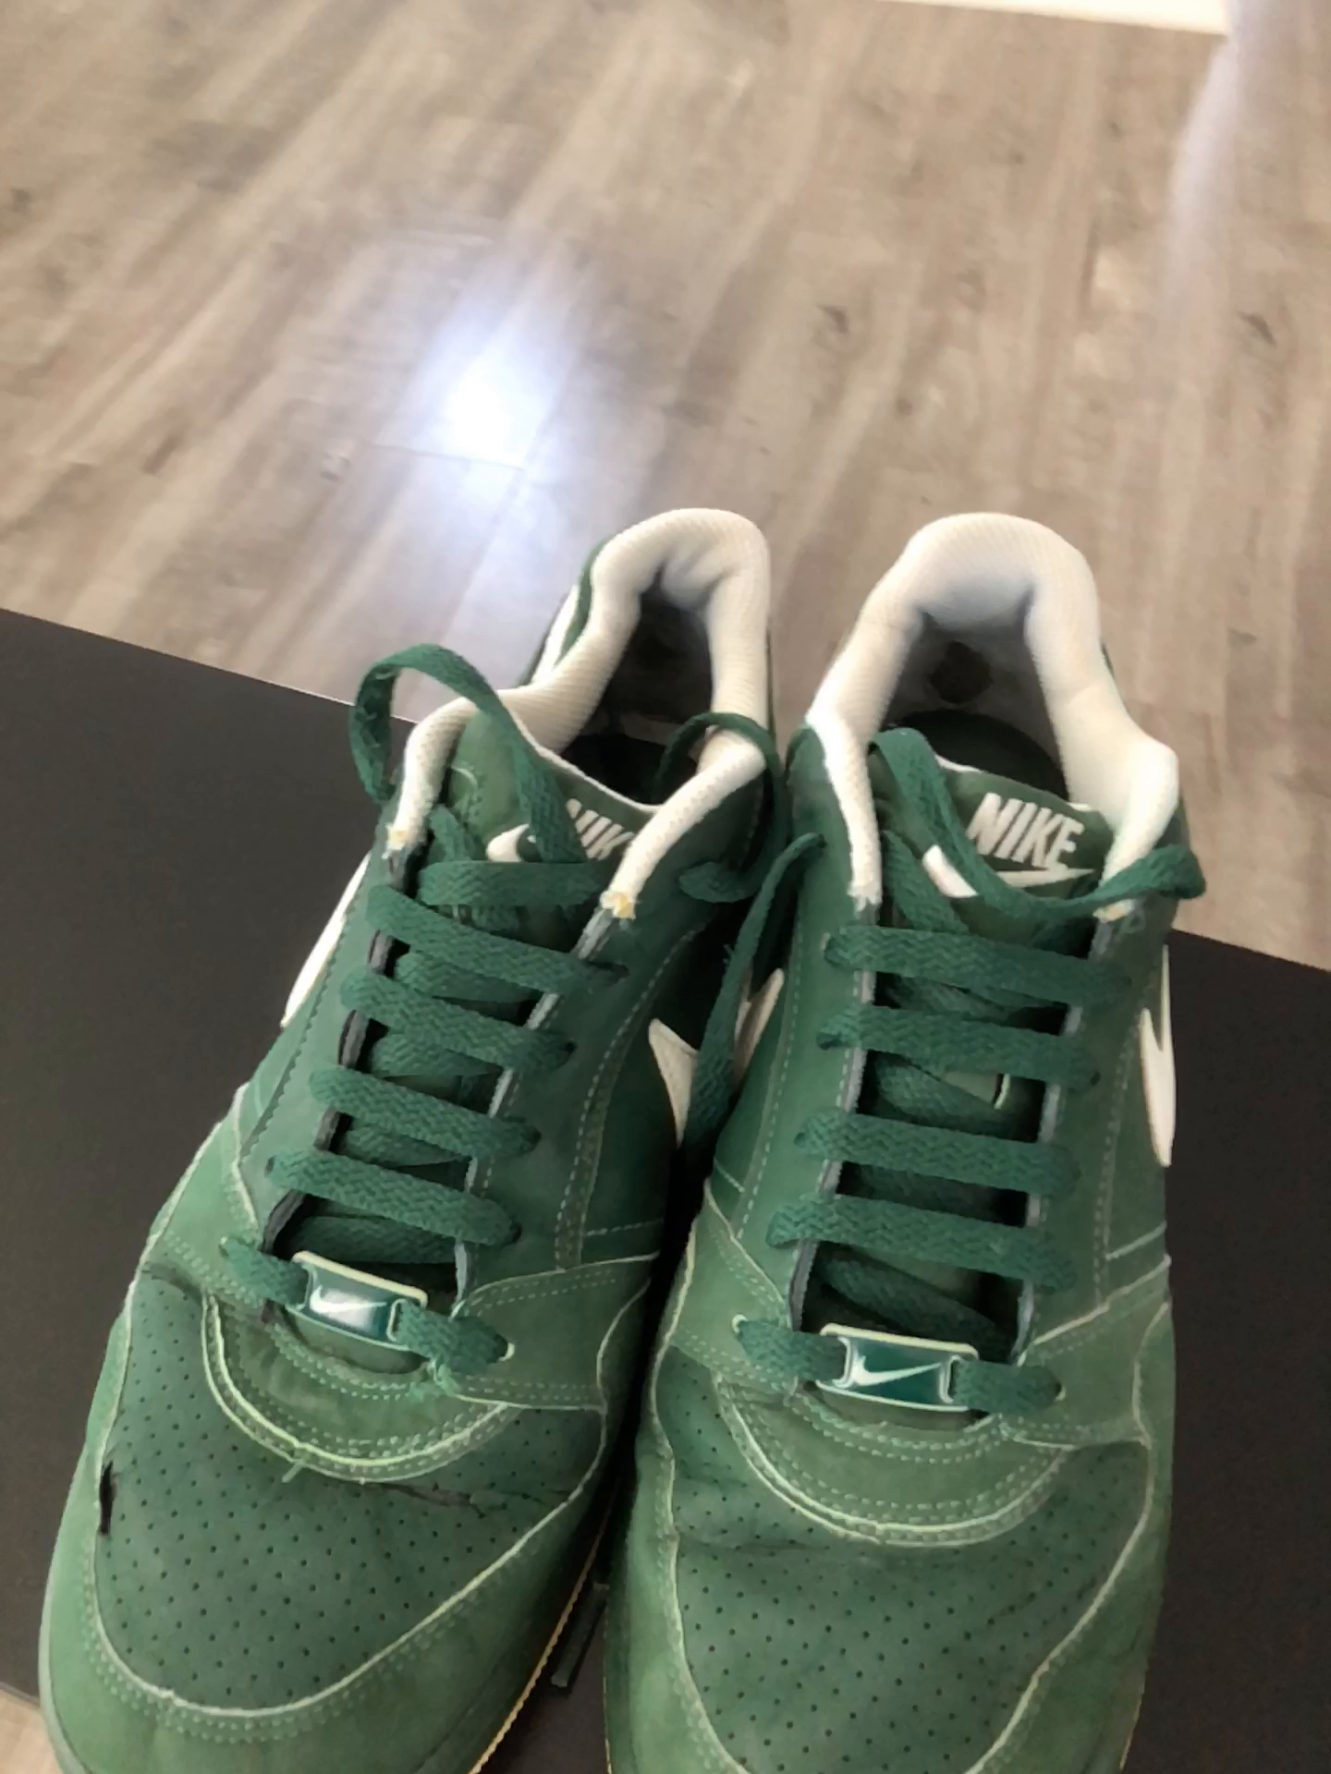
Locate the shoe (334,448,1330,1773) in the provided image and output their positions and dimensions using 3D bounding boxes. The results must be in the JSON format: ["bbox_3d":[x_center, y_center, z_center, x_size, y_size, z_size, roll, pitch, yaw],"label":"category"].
[{"bbox_3d":[0.056,0.054,0.279,0.110,0.100,0.280,14,56,10],"label":"shoe"}]

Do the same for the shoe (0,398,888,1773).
[{"bbox_3d":[-0.045,0.038,0.302,0.100,0.100,0.292,16,56,12],"label":"shoe"}]
